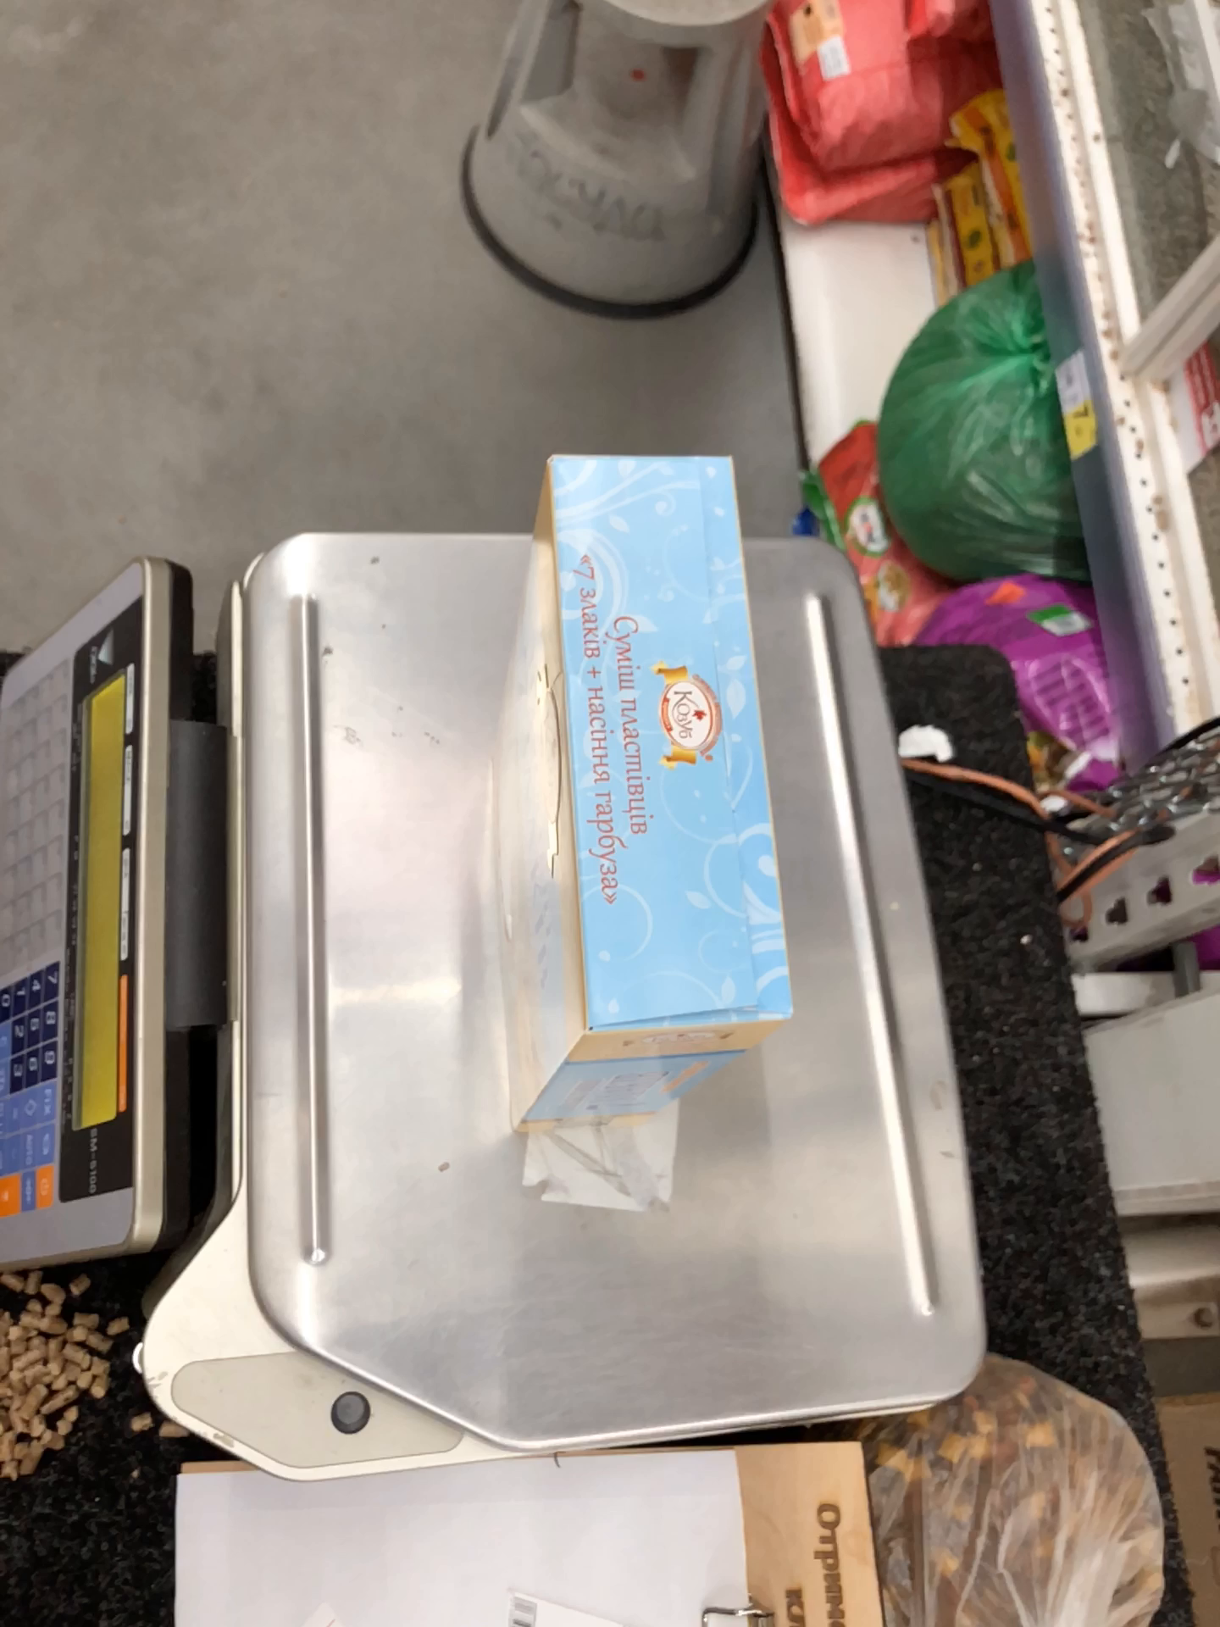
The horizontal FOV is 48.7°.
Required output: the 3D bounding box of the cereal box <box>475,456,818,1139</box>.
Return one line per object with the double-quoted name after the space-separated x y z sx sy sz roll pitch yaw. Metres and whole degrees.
-0.004 0.014 0.452 0.060 0.229 0.160 -3 72 -10 "cereal box"
